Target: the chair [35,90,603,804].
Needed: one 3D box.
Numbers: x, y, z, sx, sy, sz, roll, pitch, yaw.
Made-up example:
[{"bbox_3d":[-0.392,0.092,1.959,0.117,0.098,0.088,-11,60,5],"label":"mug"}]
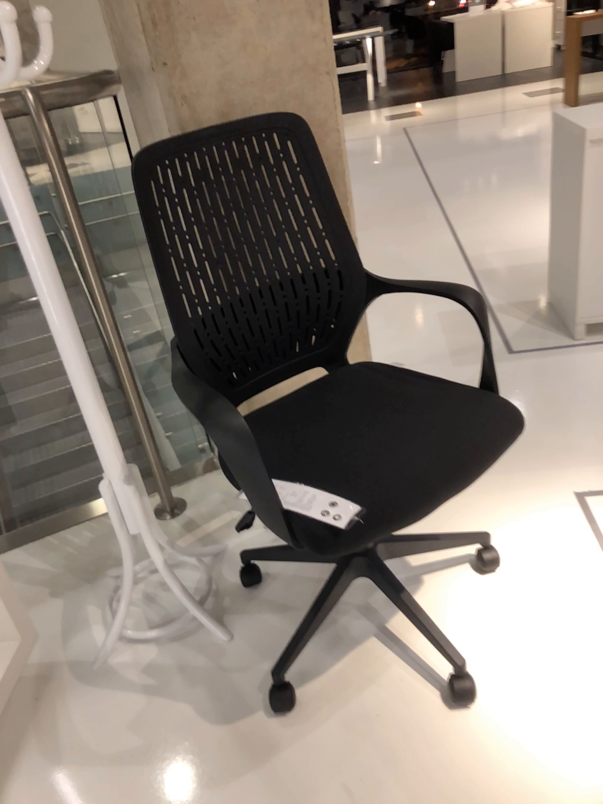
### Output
[{"bbox_3d":[0.067,0.023,1.268,0.642,1.021,0.704,-25,33,-24],"label":"chair"}]
